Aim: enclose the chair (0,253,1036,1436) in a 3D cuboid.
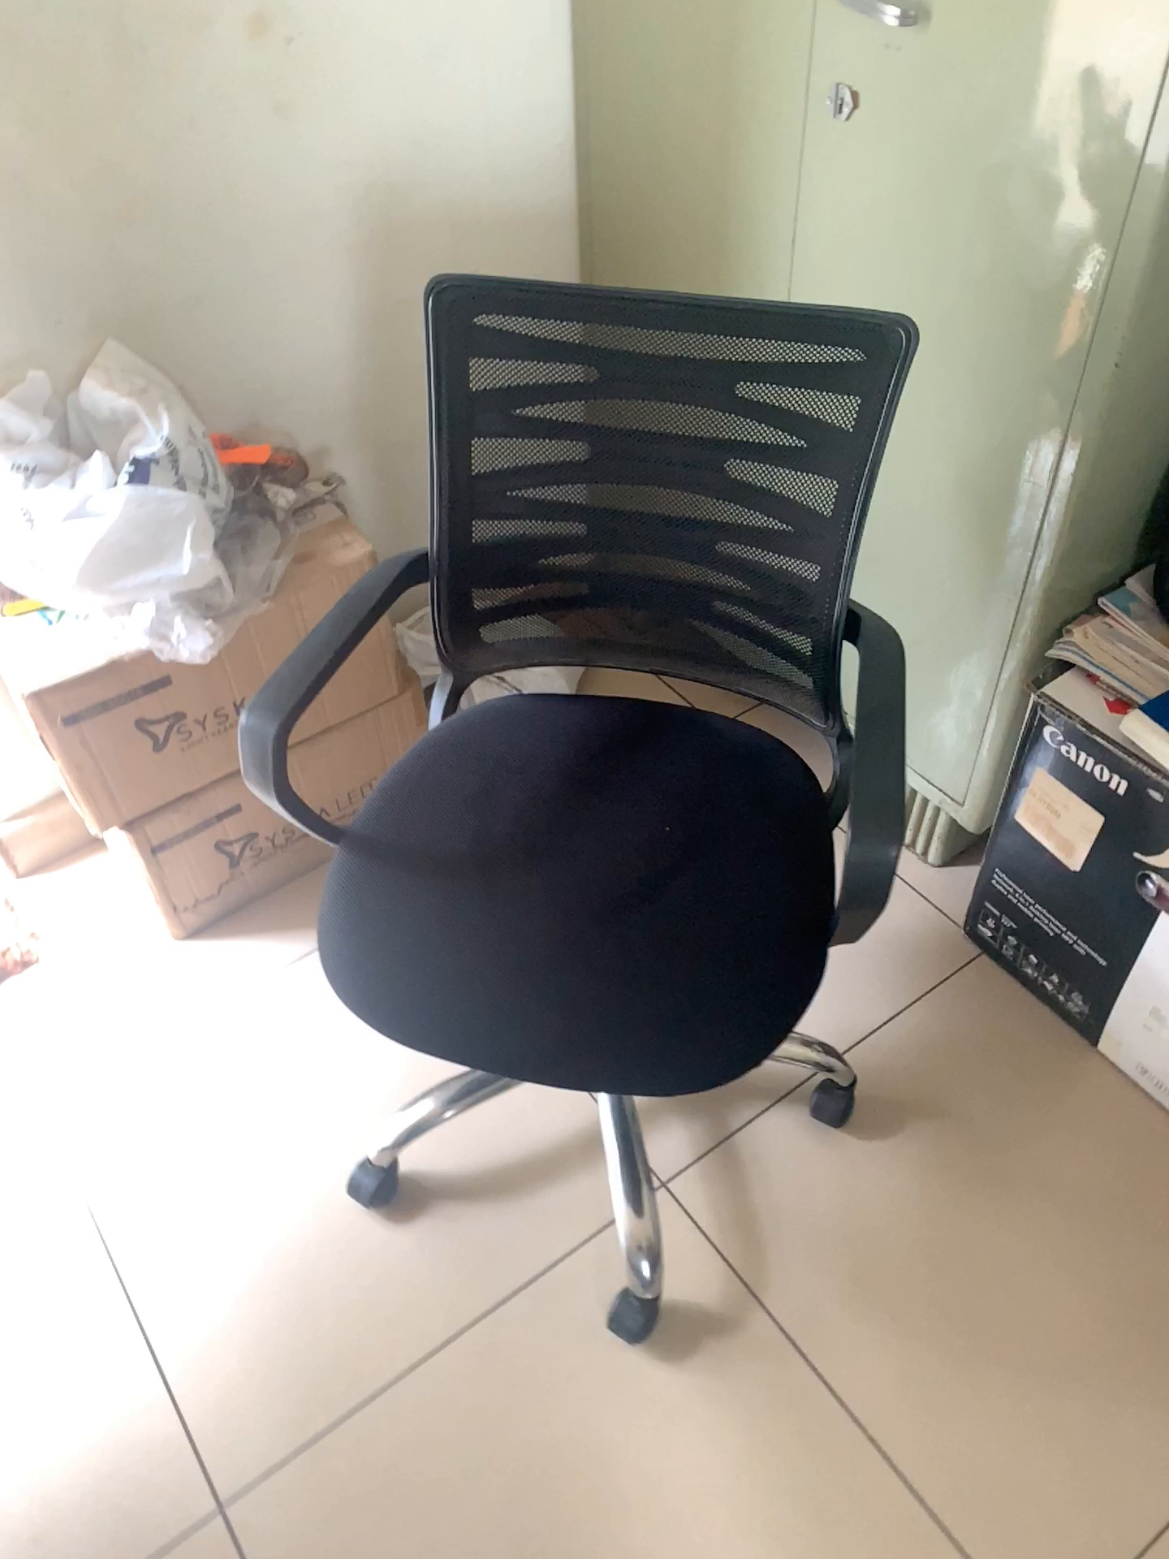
[{"bbox_3d":[0.007,0.098,1.264,0.680,0.996,0.652,9,46,12],"label":"chair"}]
